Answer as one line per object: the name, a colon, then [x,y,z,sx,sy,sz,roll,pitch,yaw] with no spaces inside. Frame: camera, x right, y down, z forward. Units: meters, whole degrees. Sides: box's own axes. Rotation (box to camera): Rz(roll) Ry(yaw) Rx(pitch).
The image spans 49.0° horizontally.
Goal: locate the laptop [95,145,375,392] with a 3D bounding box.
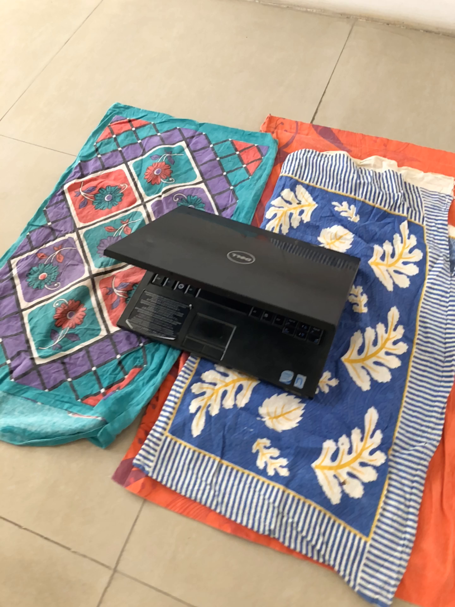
laptop: [0.020,-0.055,0.706,0.298,0.143,0.235,19,62,12]
